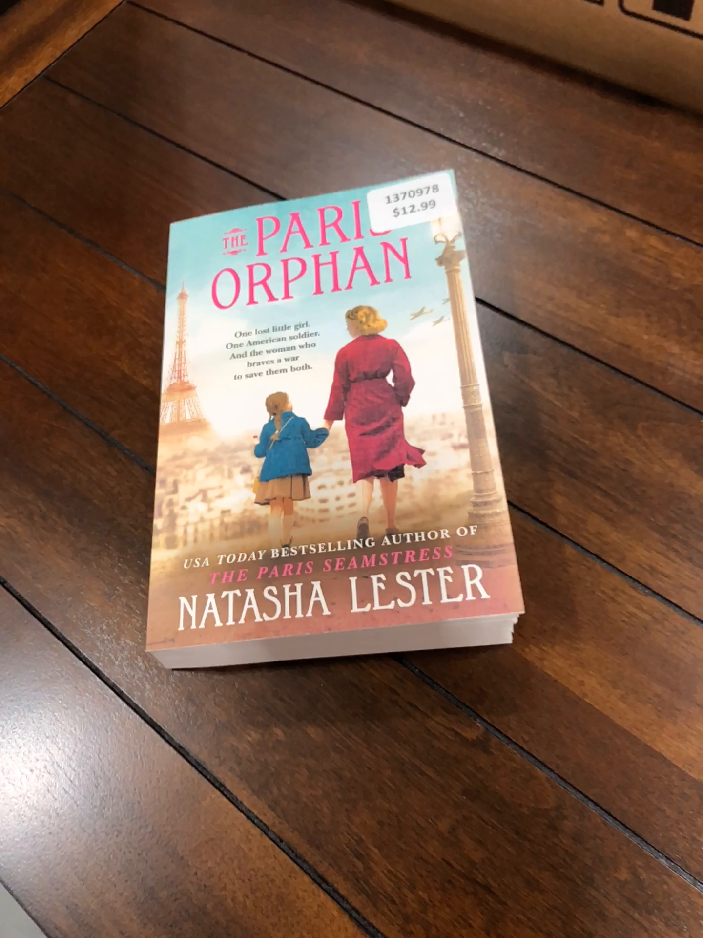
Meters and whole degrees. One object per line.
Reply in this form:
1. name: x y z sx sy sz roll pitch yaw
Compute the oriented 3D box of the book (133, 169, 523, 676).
1. book: -0.012 -0.024 0.321 0.134 0.035 0.199 -7 65 9
